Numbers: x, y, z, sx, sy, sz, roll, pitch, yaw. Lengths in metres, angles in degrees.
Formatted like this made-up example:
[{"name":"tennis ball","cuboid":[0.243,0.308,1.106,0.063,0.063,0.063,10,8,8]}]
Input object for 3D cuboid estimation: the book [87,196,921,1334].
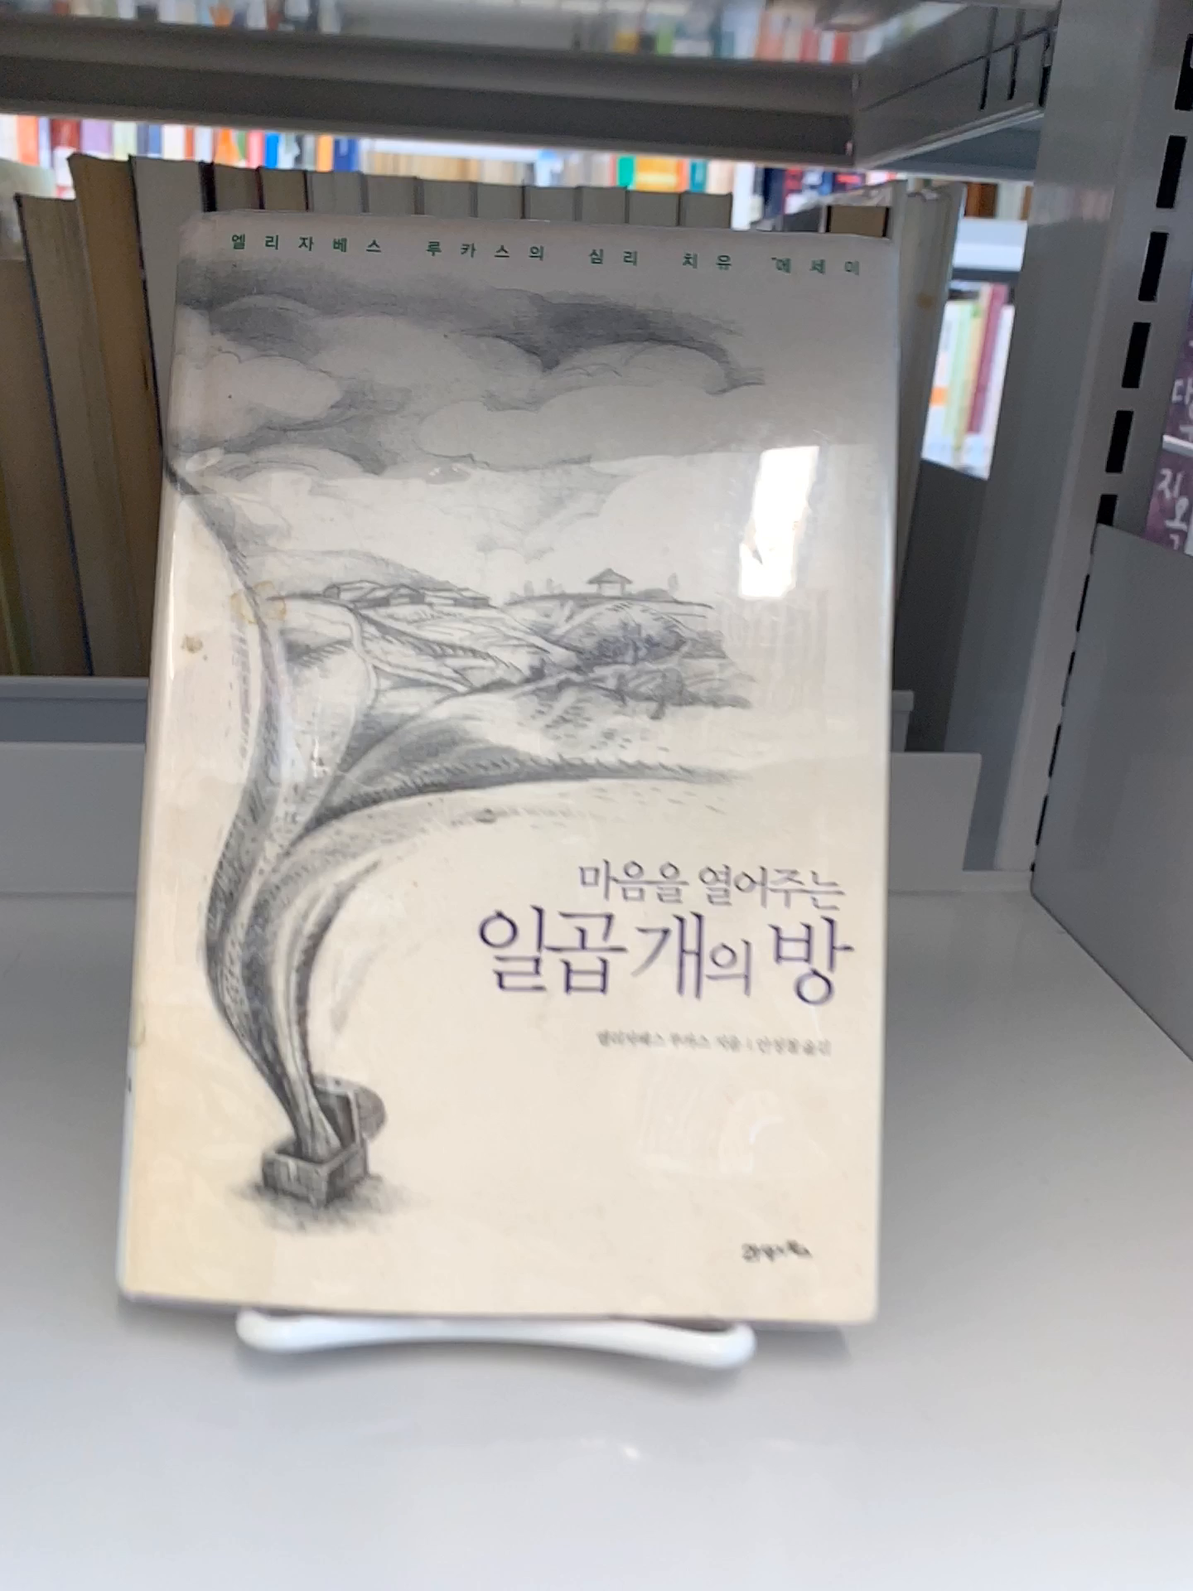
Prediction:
[{"name":"book","cuboid":[-0.016,-0.005,0.226,0.137,0.193,0.019,3,-1,-1]}]
